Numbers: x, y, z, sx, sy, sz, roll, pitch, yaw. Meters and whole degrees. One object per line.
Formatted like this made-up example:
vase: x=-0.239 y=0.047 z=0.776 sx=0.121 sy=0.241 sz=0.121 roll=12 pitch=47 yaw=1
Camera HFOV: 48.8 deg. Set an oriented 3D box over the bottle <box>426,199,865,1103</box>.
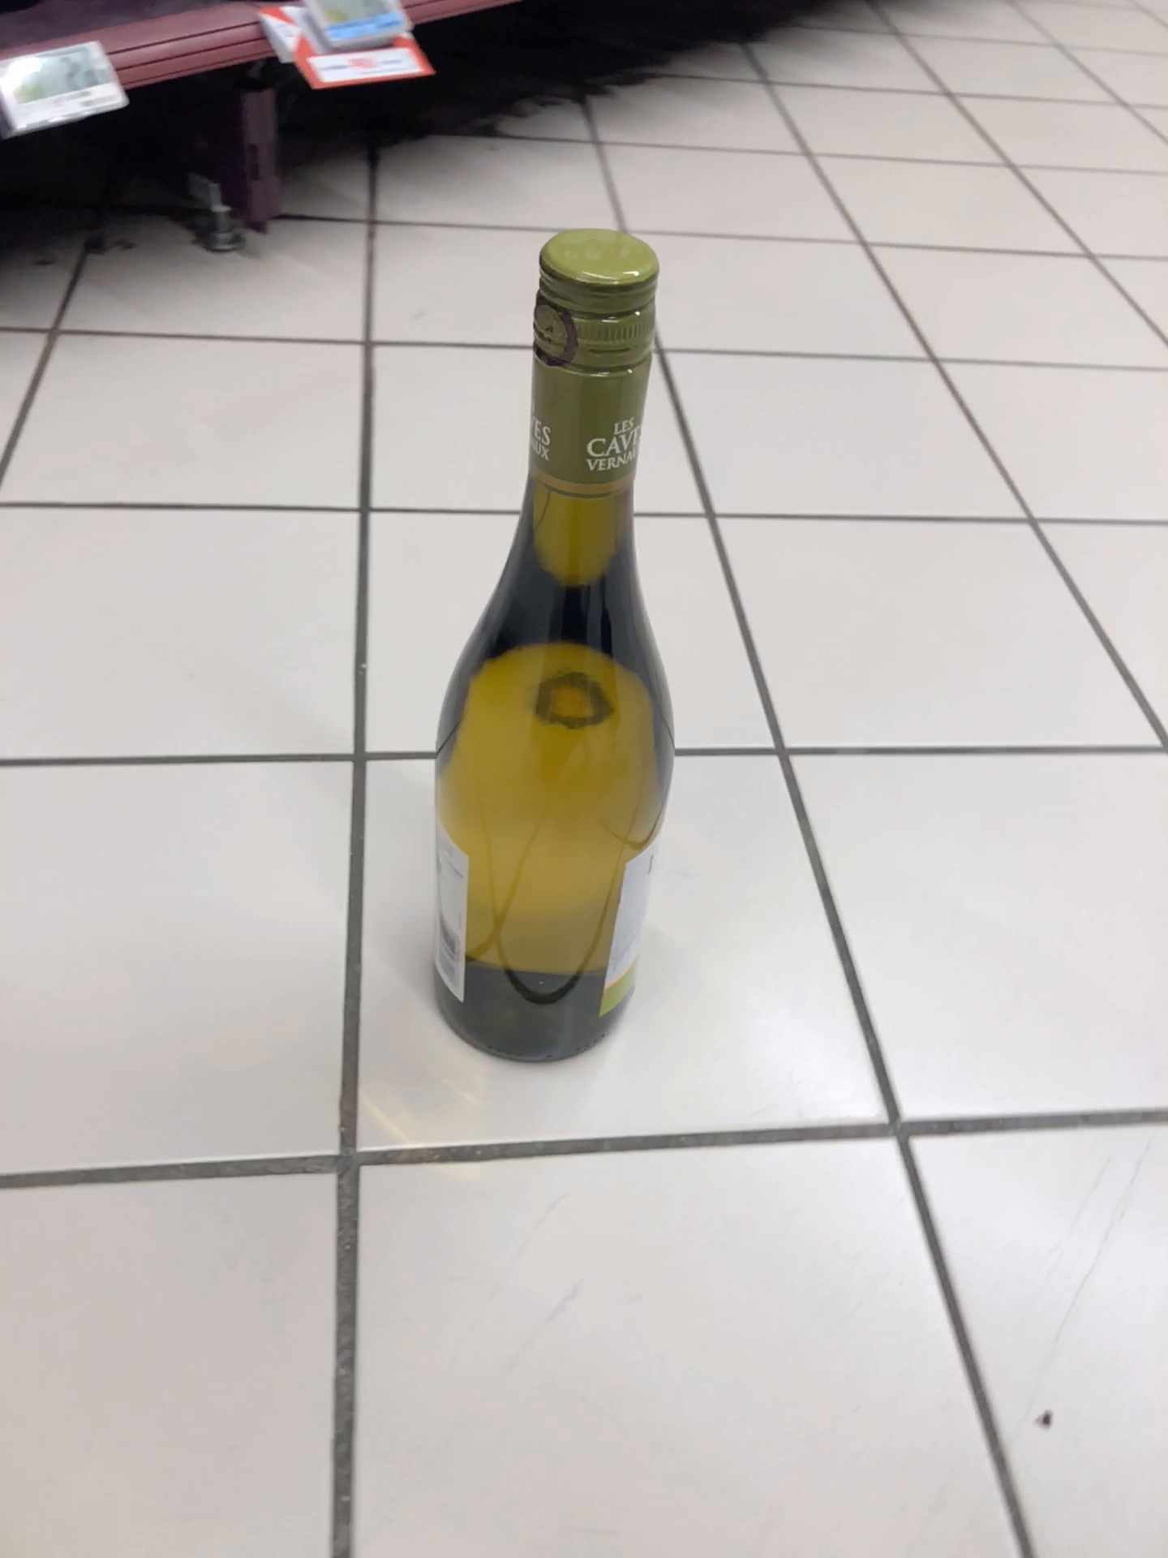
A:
bottle: x=0.000 y=-0.015 z=0.397 sx=0.090 sy=0.278 sz=0.091 roll=4 pitch=44 yaw=-4
